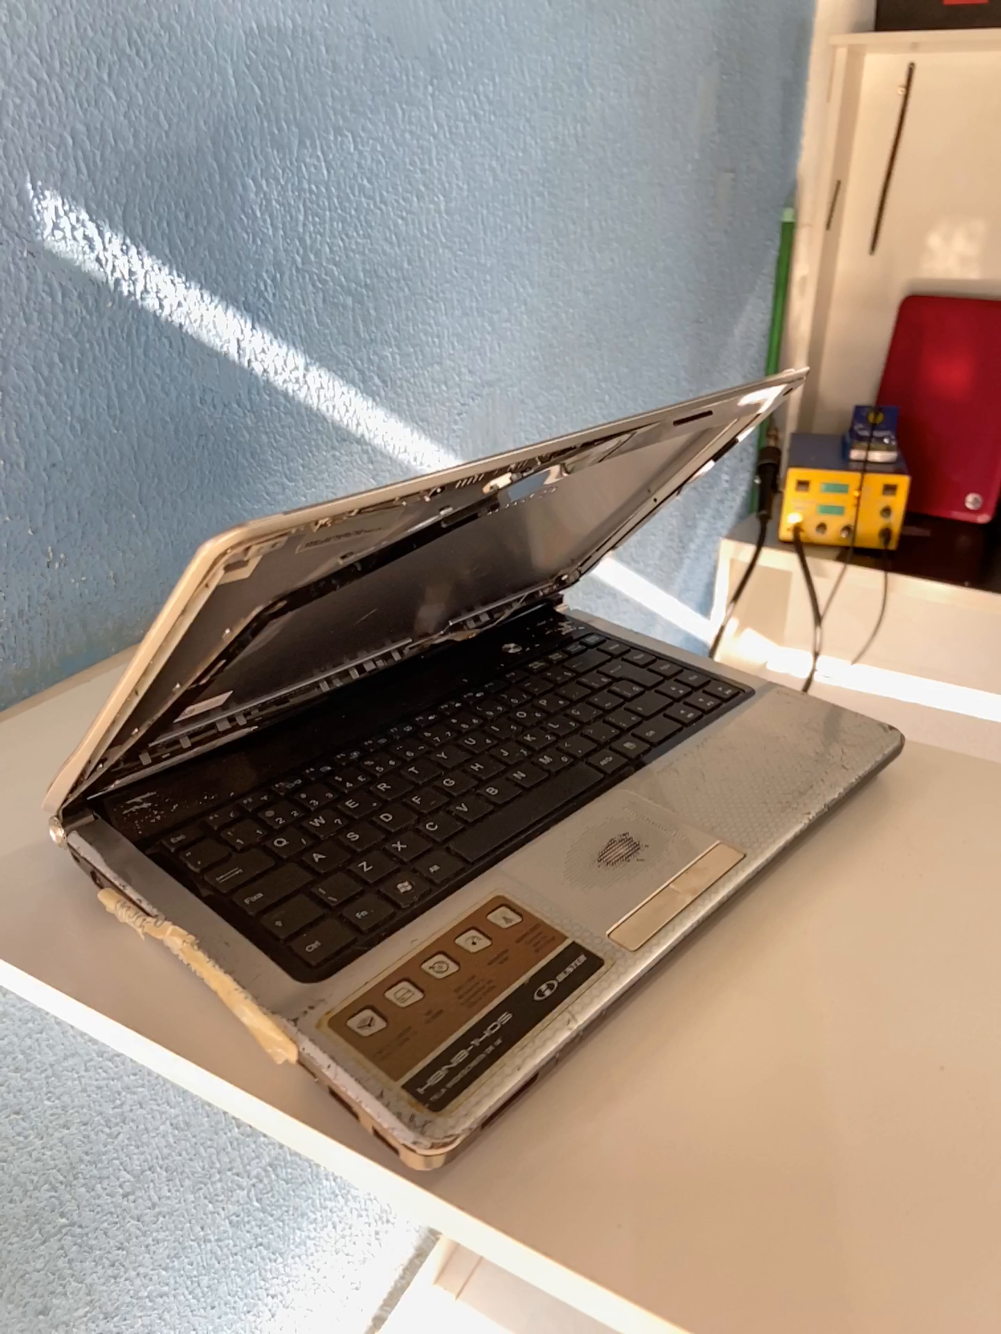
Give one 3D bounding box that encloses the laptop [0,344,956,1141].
[{"bbox_3d":[0.004,-0.024,0.445,0.232,0.160,0.327,23,33,37],"label":"laptop"}]
